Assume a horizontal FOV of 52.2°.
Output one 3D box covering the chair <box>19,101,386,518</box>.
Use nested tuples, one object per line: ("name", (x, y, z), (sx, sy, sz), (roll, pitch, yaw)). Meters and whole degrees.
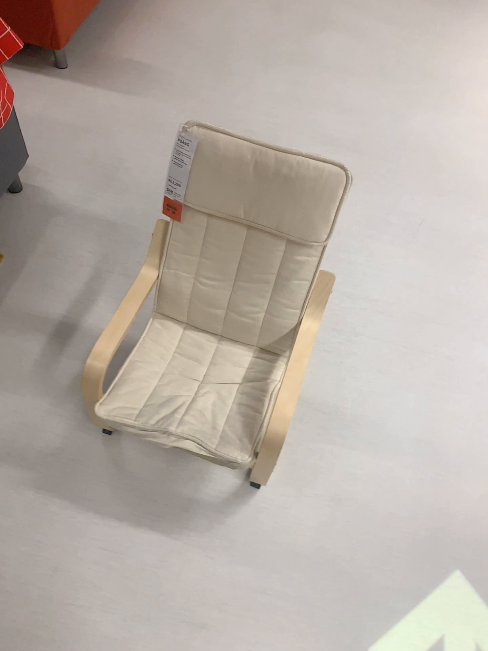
("chair", (-0.068, 0.032, 1.210), (0.490, 0.798, 0.541), (18, 57, 4))
